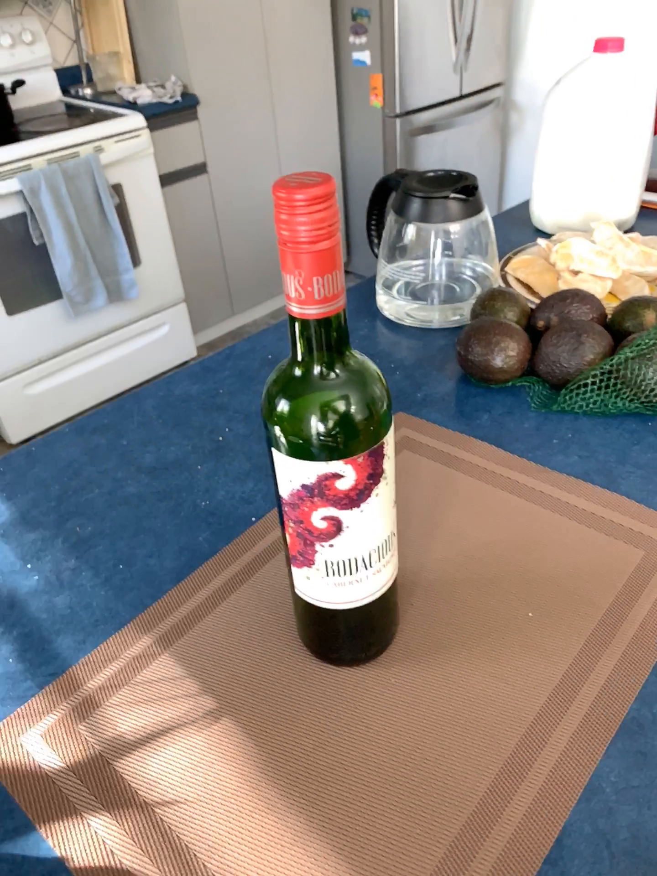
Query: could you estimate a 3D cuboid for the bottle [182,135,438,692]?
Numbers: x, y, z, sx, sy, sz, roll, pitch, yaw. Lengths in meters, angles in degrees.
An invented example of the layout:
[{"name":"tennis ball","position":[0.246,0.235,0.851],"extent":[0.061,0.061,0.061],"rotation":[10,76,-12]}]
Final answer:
[{"name":"bottle","position":[0.002,0.004,0.377],"extent":[0.080,0.297,0.081],"rotation":[-4,36,3]}]
